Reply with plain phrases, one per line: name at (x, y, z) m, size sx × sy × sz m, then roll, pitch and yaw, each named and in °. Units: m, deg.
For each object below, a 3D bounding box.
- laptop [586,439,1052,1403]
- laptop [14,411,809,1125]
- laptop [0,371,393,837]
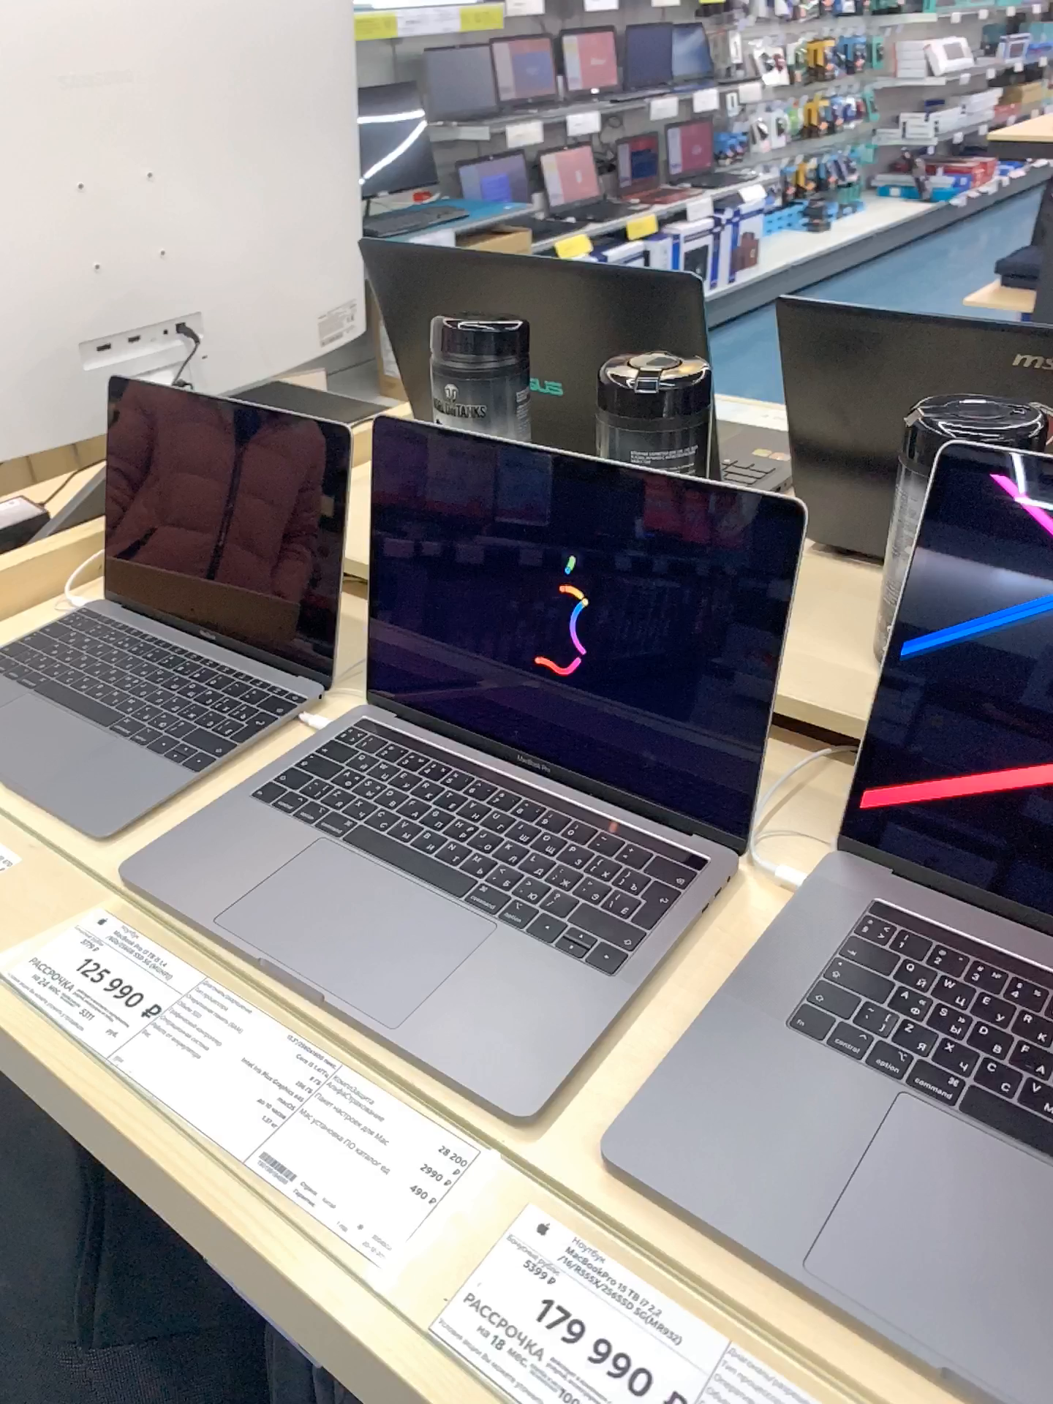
laptop at (0.260, 0.078, 0.411) m, size 0.347 × 0.210 × 0.328 m, roll 20°, pitch 39°, yaw 33°
laptop at (-0.050, -0.001, 0.587) m, size 0.300 × 0.195 × 0.260 m, roll 20°, pitch 39°, yaw 31°
laptop at (-0.298, -0.095, 0.774) m, size 0.281 × 0.172 × 0.266 m, roll 19°, pitch 40°, yaw 31°
